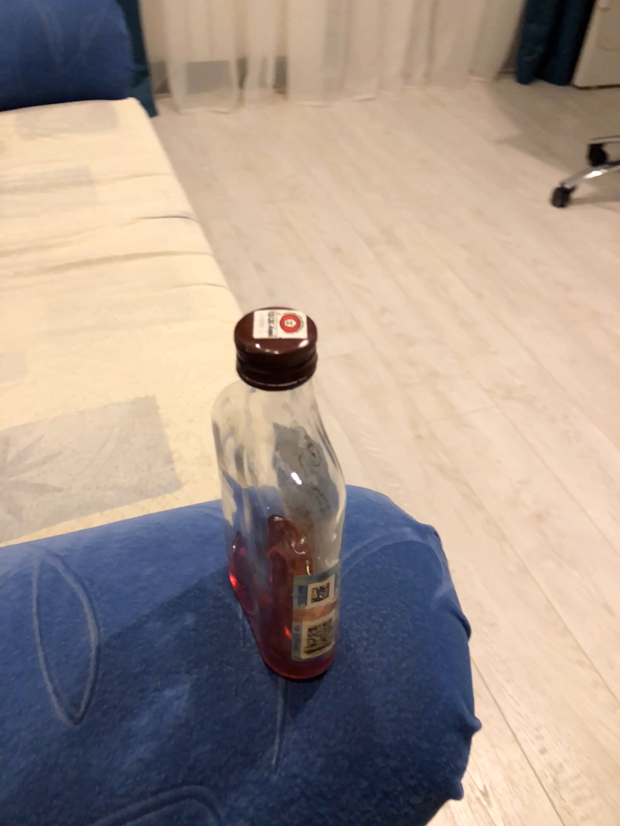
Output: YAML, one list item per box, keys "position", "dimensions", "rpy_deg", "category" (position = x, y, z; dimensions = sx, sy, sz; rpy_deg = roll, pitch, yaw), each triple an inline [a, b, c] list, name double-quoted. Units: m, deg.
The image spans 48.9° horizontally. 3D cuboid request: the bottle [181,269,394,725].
- position: [-0.015, 0.044, 0.288]
  dimensions: [0.040, 0.179, 0.090]
  rpy_deg: [-15, 46, -19]
  category: "bottle"
